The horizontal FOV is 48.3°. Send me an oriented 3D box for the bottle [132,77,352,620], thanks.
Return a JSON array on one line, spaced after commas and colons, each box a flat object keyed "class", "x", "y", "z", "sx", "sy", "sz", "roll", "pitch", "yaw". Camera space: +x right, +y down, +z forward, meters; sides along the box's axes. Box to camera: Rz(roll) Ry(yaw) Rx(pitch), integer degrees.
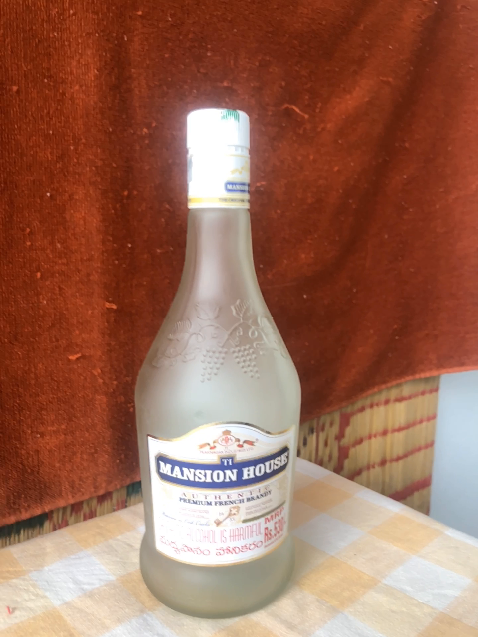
[{"class": "bottle", "x": -0.005, "y": 0.017, "z": 0.288, "sx": 0.090, "sy": 0.249, "sz": 0.090, "roll": 2, "pitch": 9, "yaw": 0}]
